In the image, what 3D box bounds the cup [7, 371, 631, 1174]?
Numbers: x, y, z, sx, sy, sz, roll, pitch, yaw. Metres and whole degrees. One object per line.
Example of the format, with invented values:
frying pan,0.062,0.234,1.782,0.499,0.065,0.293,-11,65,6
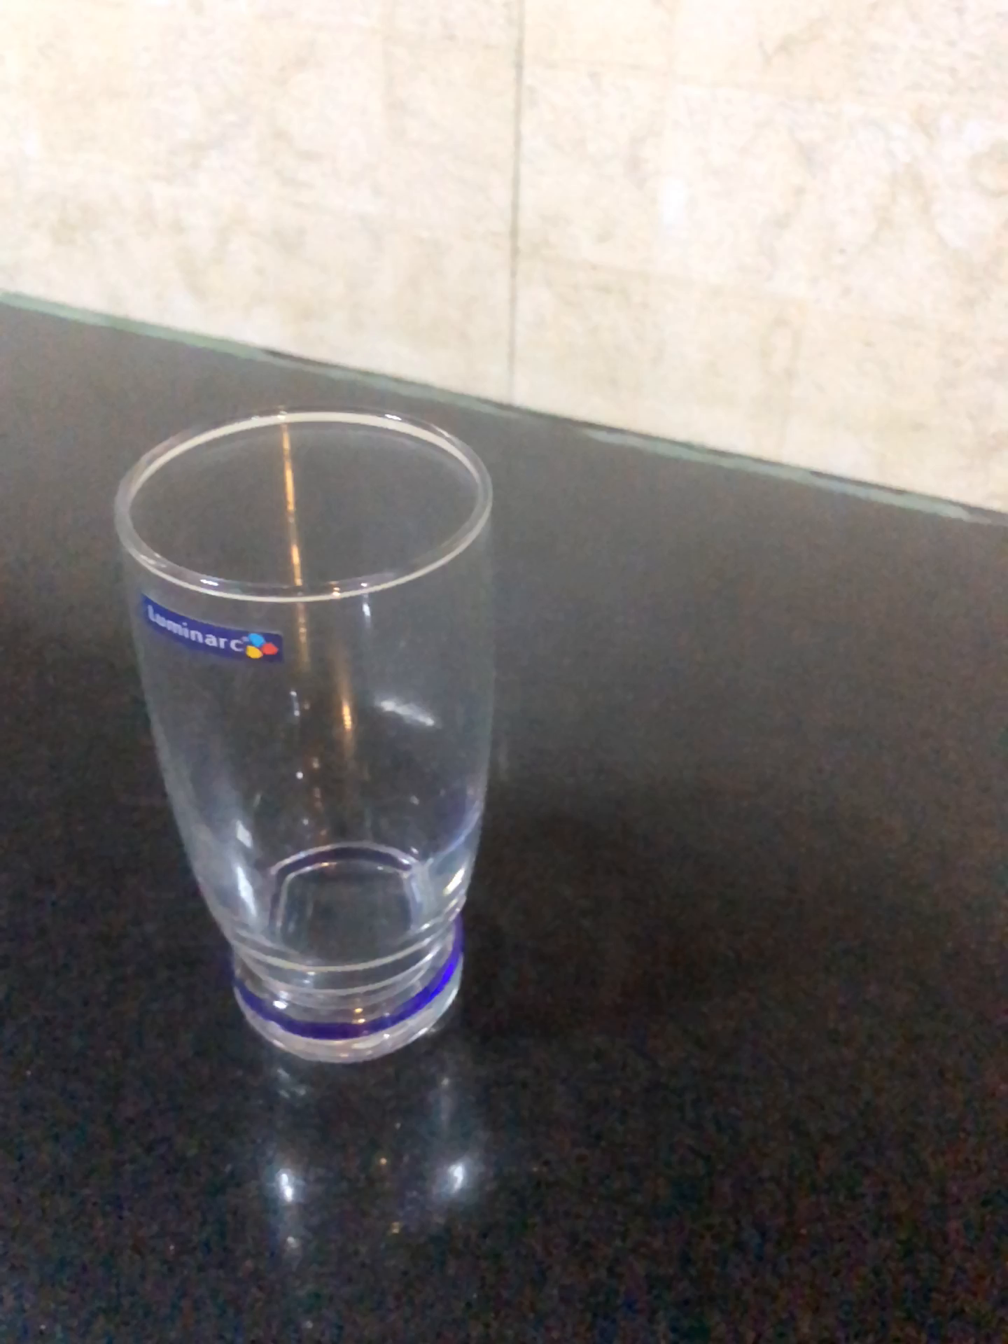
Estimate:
cup,-0.027,0.021,0.231,0.080,0.129,0.081,1,37,-1
